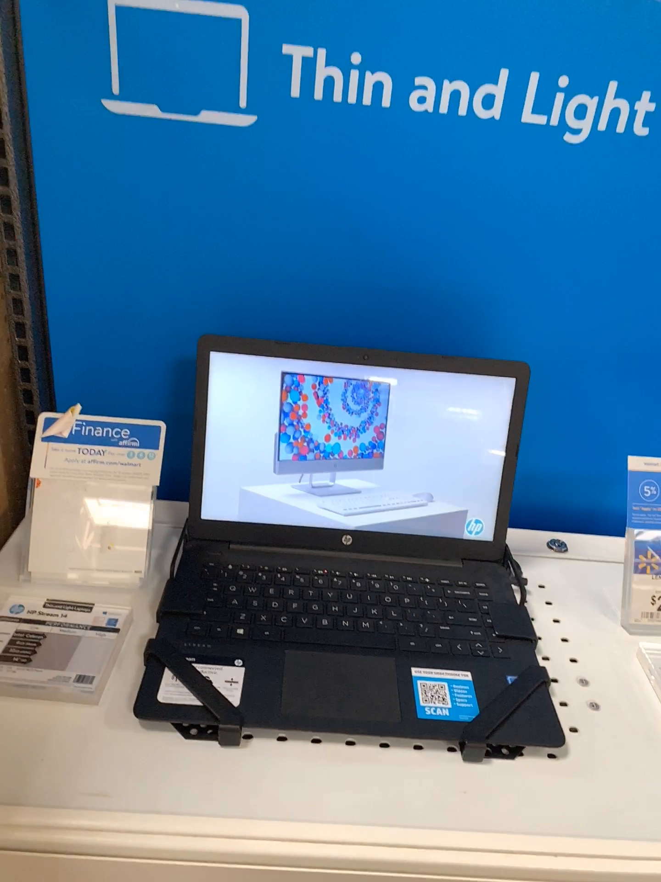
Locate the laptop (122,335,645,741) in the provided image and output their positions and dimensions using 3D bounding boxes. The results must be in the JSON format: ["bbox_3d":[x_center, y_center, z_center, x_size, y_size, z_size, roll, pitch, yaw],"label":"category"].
[{"bbox_3d":[0.025,0.064,0.584,0.325,0.203,0.270,5,27,-3],"label":"laptop"}]
